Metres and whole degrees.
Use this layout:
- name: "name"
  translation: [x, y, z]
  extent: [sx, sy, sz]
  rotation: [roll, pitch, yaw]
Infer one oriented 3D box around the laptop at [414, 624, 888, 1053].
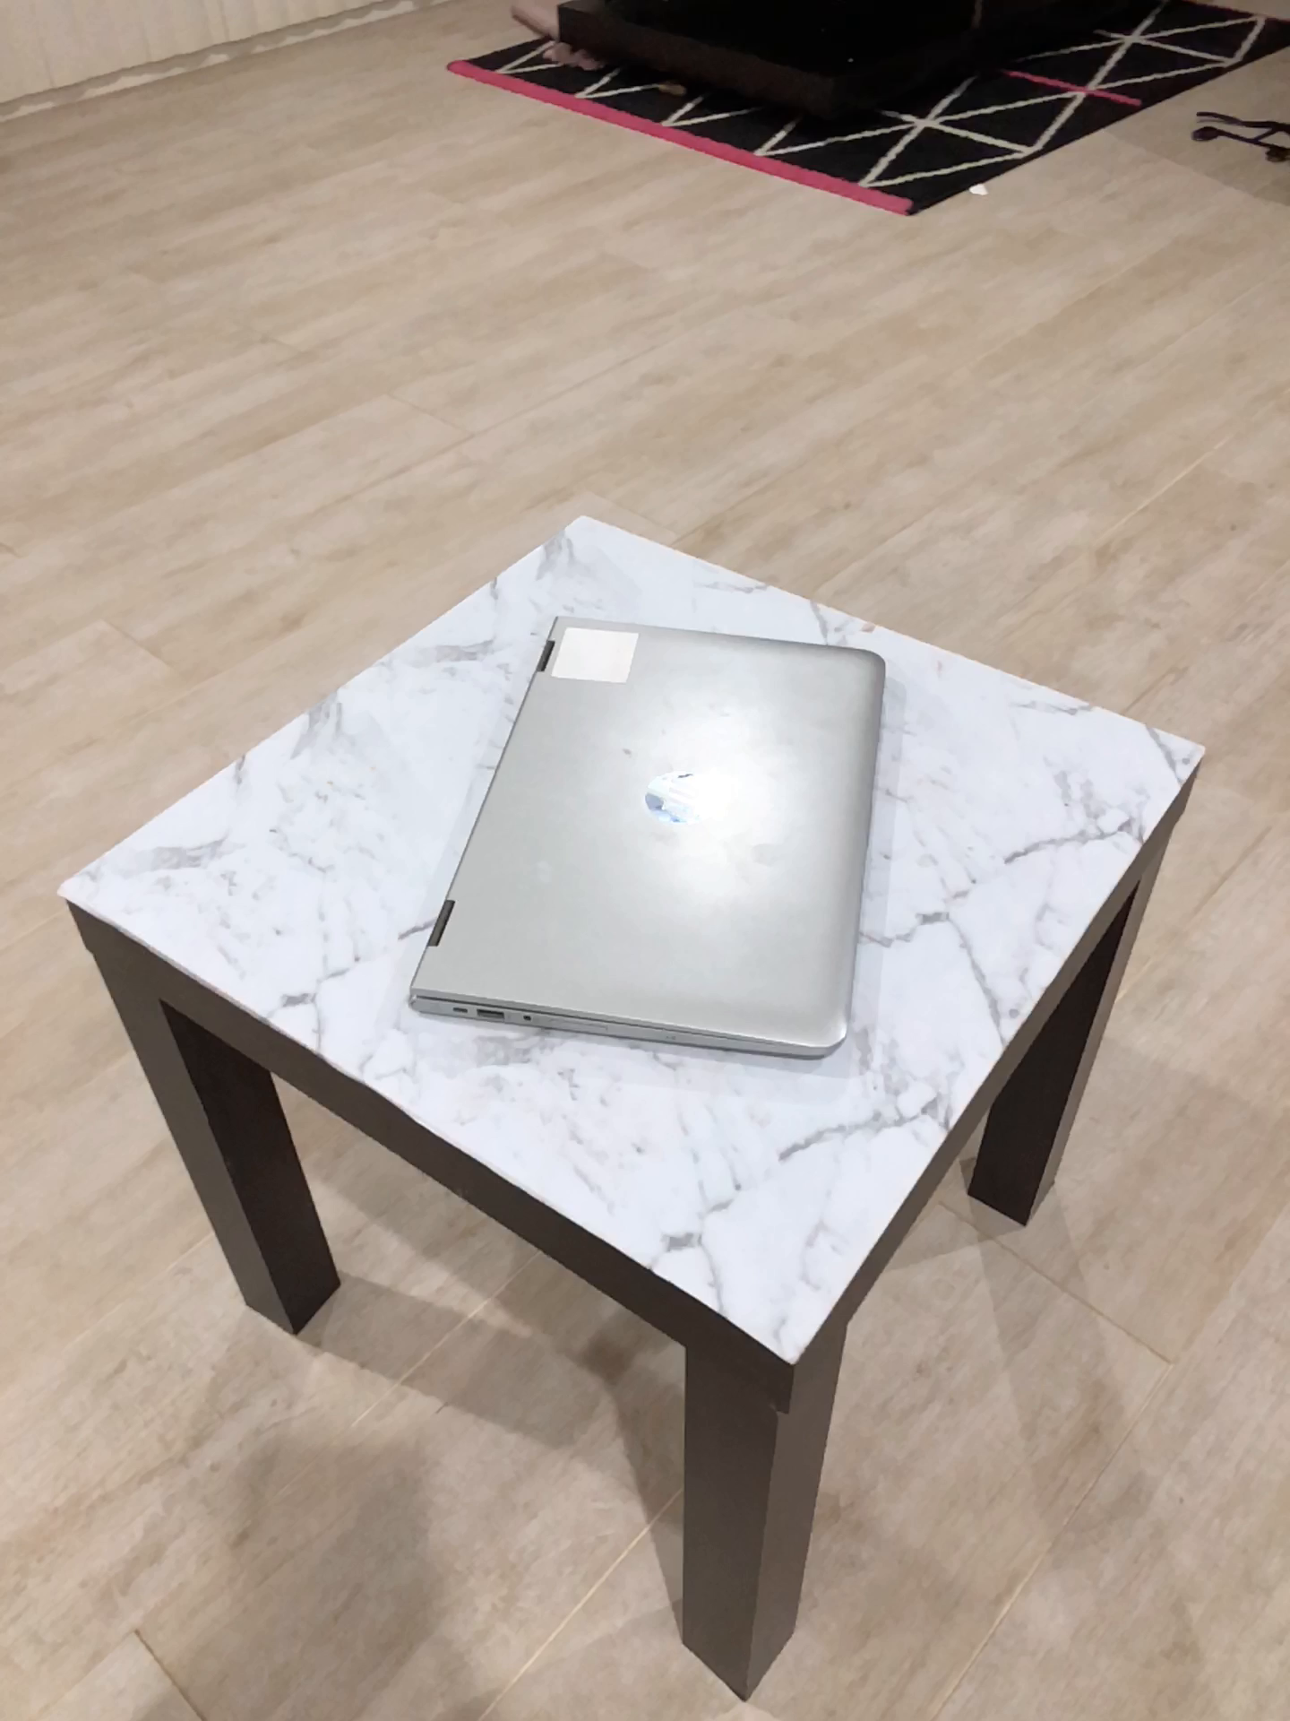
- name: "laptop"
  translation: [0.018, -0.029, 0.740]
  extent: [0.197, 0.001, 0.294]
  rotation: [7, 45, 8]
